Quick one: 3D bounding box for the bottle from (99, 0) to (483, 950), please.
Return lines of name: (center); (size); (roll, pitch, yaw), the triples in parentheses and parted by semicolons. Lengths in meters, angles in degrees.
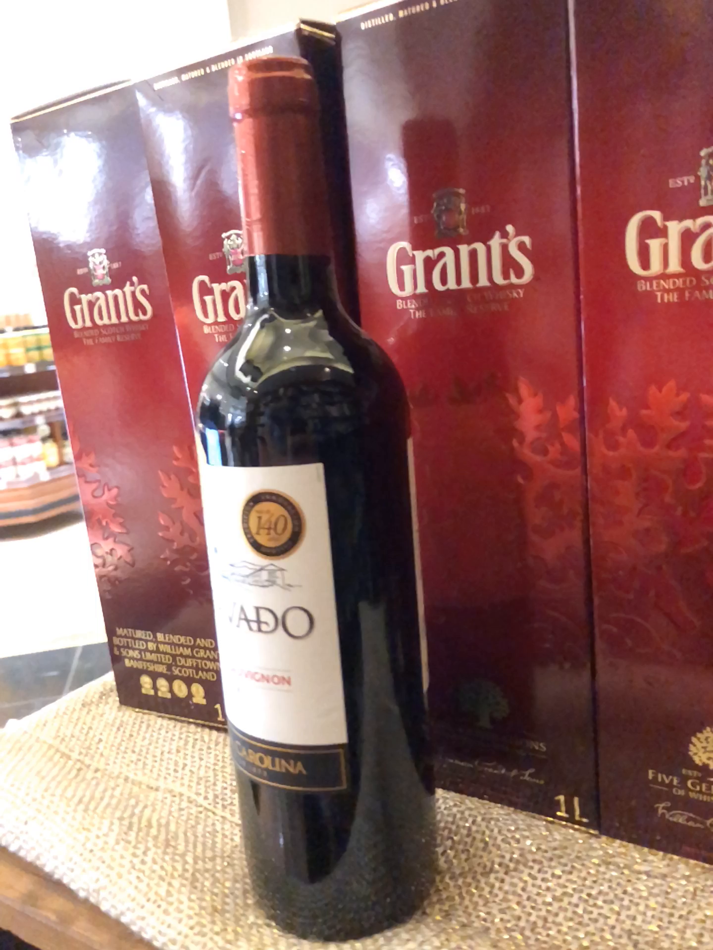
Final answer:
bottle: (-0.017, 0.009, 0.274); (0.070, 0.289, 0.080); (-15, 16, -40)
